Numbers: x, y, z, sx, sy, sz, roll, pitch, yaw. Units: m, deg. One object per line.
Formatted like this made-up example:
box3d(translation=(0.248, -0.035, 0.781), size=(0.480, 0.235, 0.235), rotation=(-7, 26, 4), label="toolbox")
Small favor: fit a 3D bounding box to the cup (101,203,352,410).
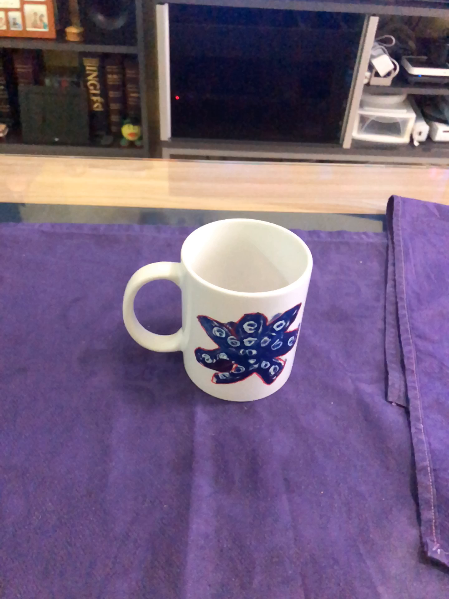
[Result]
box3d(translation=(0.002, 0.004, 0.317), size=(0.130, 0.090, 0.080), rotation=(5, 41, 2), label="cup")
